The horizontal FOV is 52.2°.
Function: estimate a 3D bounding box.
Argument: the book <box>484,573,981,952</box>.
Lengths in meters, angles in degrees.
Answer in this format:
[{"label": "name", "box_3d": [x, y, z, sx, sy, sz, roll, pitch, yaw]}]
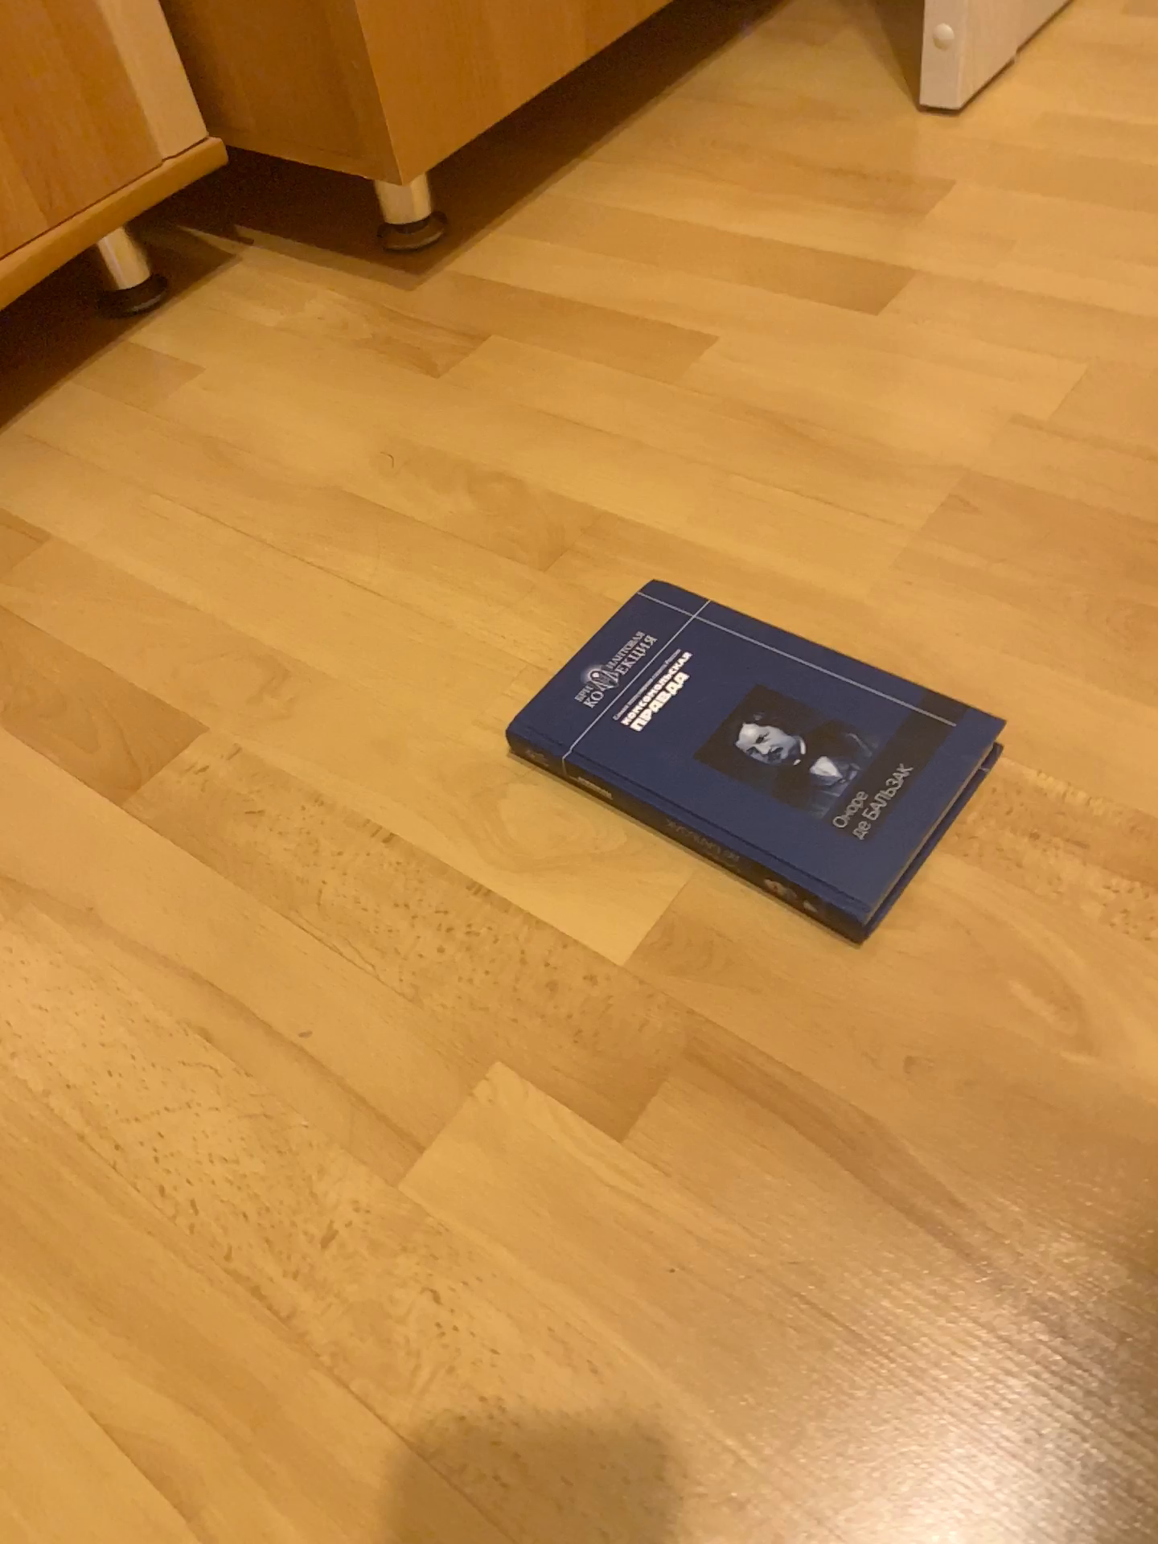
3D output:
[{"label": "book", "box_3d": [0.072, -0.015, 0.581, 0.201, 0.030, 0.128, 28, 61, 28]}]
